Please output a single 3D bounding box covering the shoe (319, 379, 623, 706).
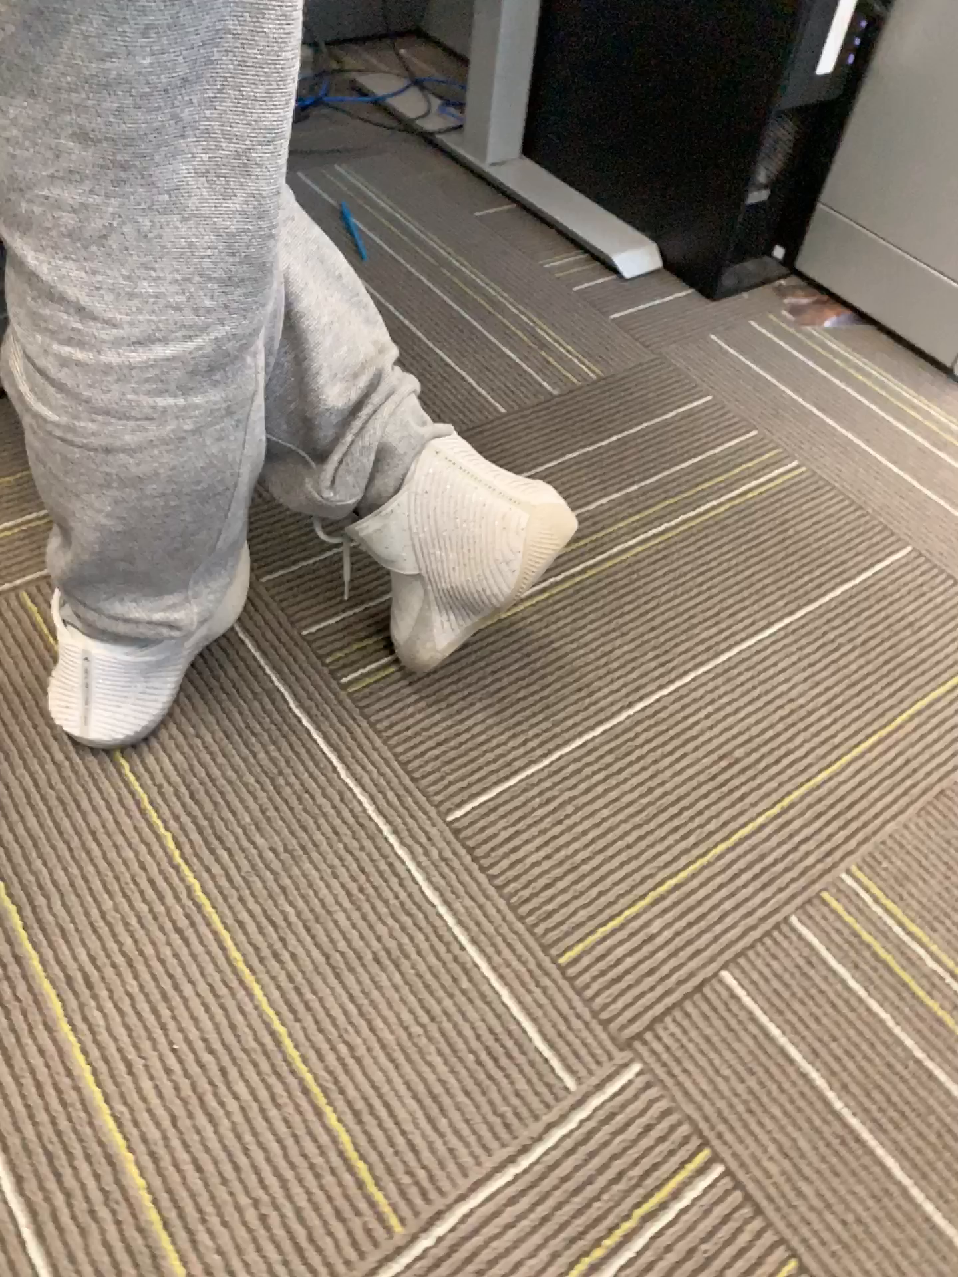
[{"bbox_3d":[-0.022,-0.057,0.776,0.120,0.279,0.120,39,68,-3],"label":"shoe"}]

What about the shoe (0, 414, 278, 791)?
[{"bbox_3d":[-0.287,-0.039,0.858,0.130,0.149,0.281,13,49,3],"label":"shoe"}]
